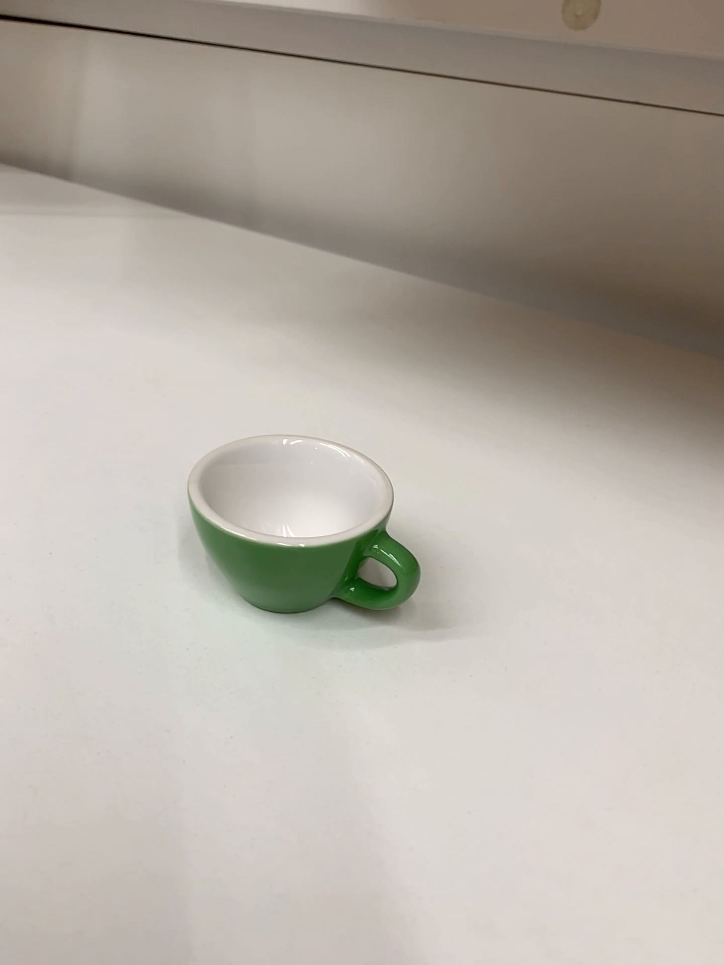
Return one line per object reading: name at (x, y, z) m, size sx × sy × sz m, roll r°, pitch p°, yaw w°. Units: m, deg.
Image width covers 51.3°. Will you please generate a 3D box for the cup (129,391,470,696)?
cup at (-0.017, 0.012, 0.214) m, size 0.070 × 0.040 × 0.060 m, roll 21°, pitch 35°, yaw 24°
